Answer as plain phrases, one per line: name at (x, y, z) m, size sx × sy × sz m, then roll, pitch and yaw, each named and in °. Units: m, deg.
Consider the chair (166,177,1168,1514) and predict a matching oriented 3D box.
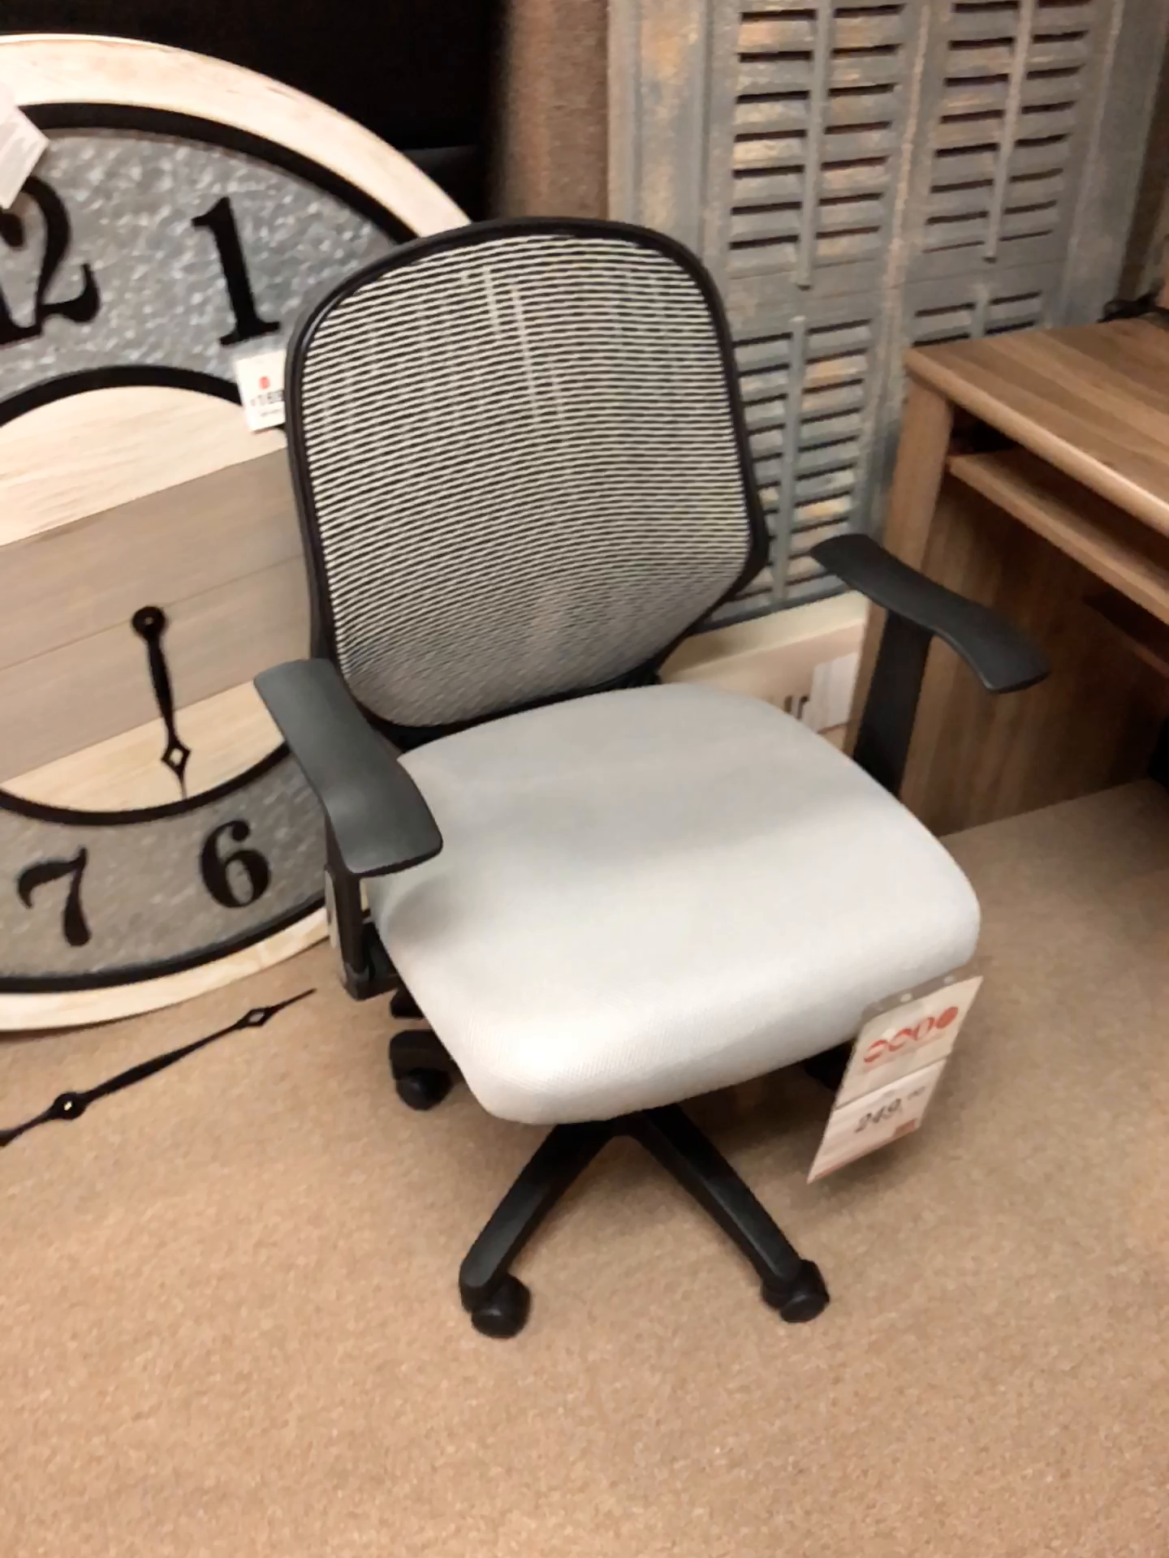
chair at (0.076, 0.014, 1.178) m, size 0.611 × 0.864 × 0.674 m, roll -16°, pitch 41°, yaw -22°
